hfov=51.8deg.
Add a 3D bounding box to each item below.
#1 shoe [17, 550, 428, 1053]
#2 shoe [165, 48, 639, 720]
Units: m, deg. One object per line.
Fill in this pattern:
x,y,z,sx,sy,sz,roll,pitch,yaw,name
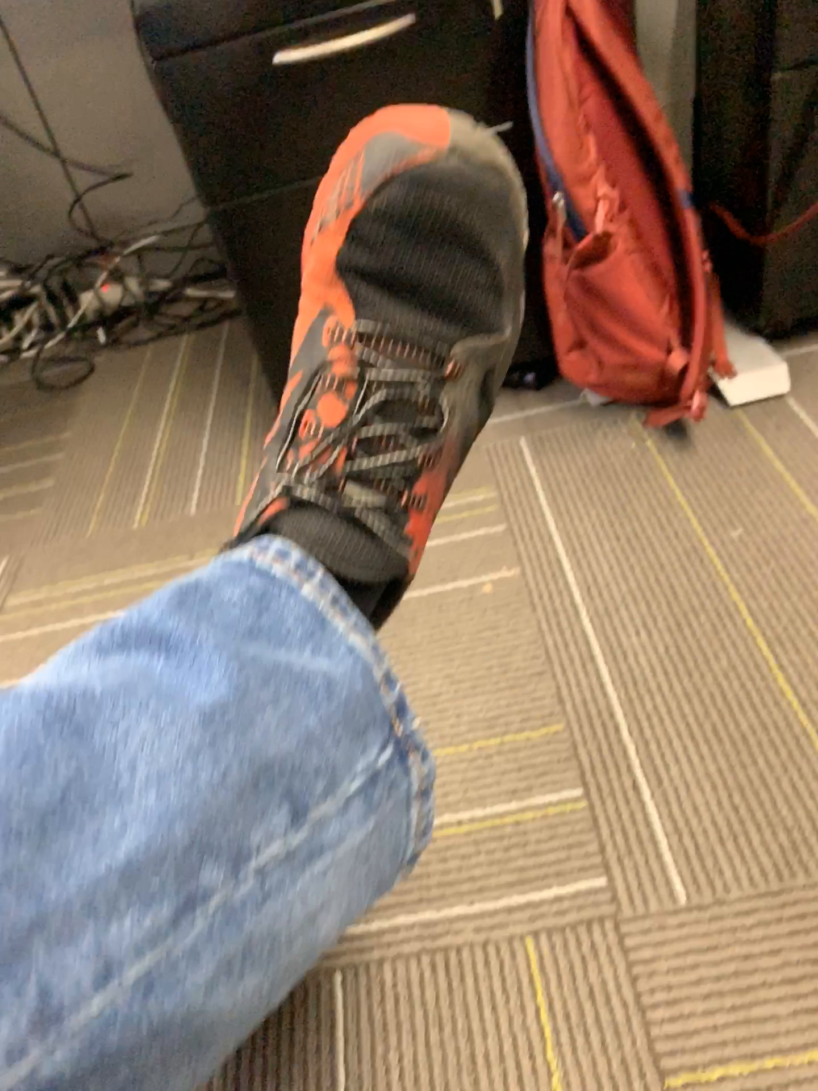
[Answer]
-0.134,0.172,0.597,0.129,0.134,0.289,31,98,41,shoe
-0.034,-0.062,0.448,0.117,0.303,0.143,11,39,-22,shoe
